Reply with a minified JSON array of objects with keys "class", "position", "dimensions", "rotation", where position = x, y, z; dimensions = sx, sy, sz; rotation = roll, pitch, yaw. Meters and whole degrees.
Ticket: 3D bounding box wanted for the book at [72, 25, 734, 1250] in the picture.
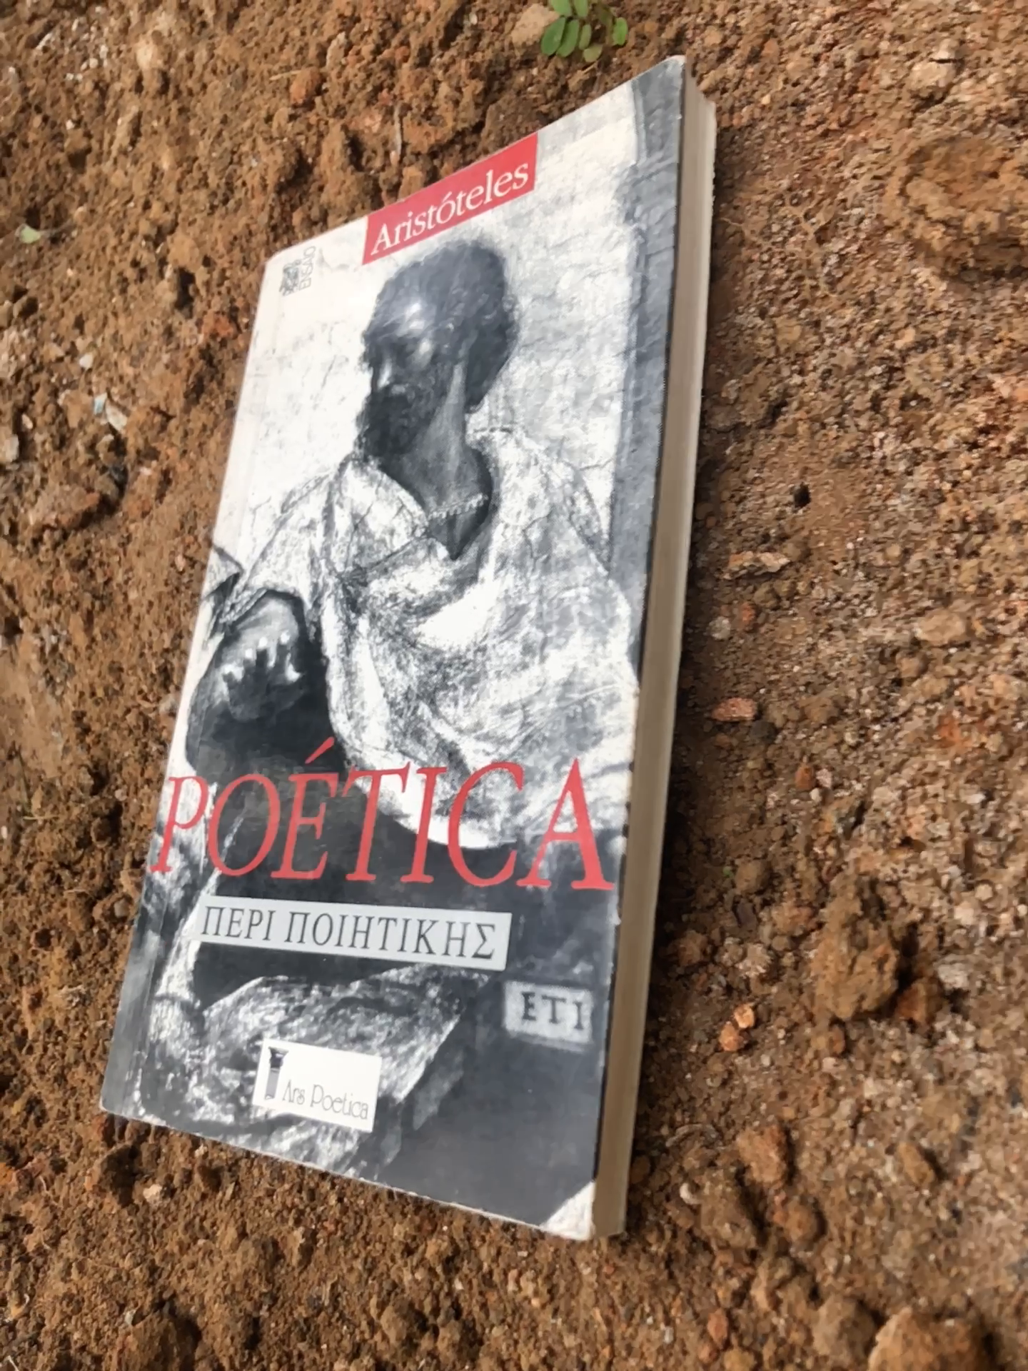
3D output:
[{"class":"book","position":[-0.025,-0.012,0.217],"dimensions":[0.131,0.015,0.189],"rotation":[-7,71,41]}]
